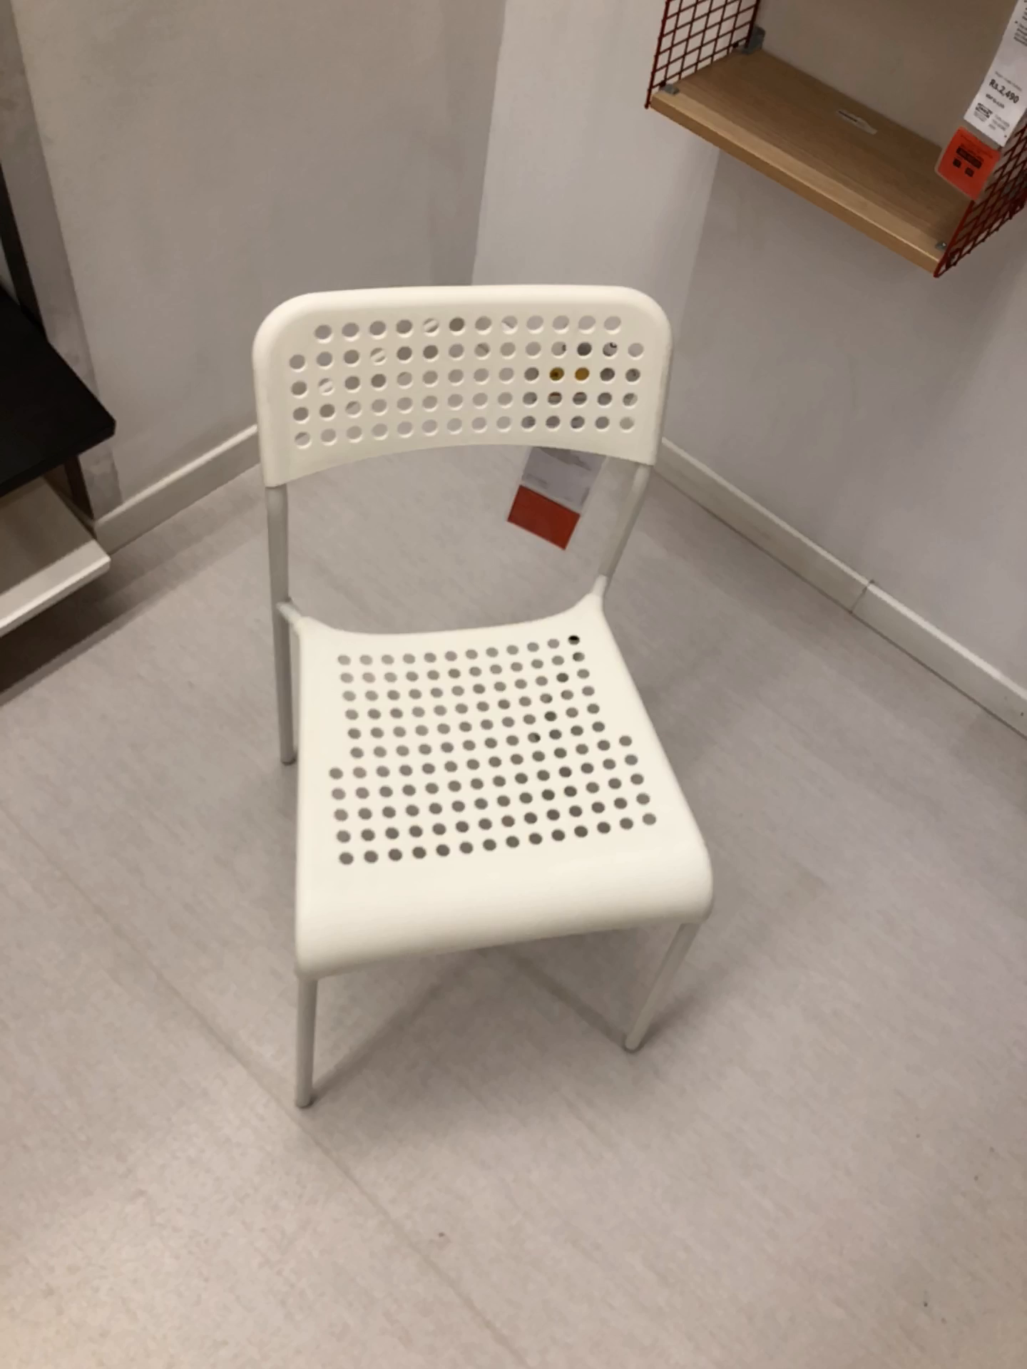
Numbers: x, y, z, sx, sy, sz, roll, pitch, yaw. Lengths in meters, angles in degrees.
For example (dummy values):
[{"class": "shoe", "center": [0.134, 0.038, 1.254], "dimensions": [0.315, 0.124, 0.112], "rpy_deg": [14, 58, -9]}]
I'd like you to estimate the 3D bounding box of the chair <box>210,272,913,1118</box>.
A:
[{"class": "chair", "center": [-0.037, 0.061, 1.110], "dimensions": [0.420, 0.736, 0.472], "rpy_deg": [-5, 57, -12]}]
